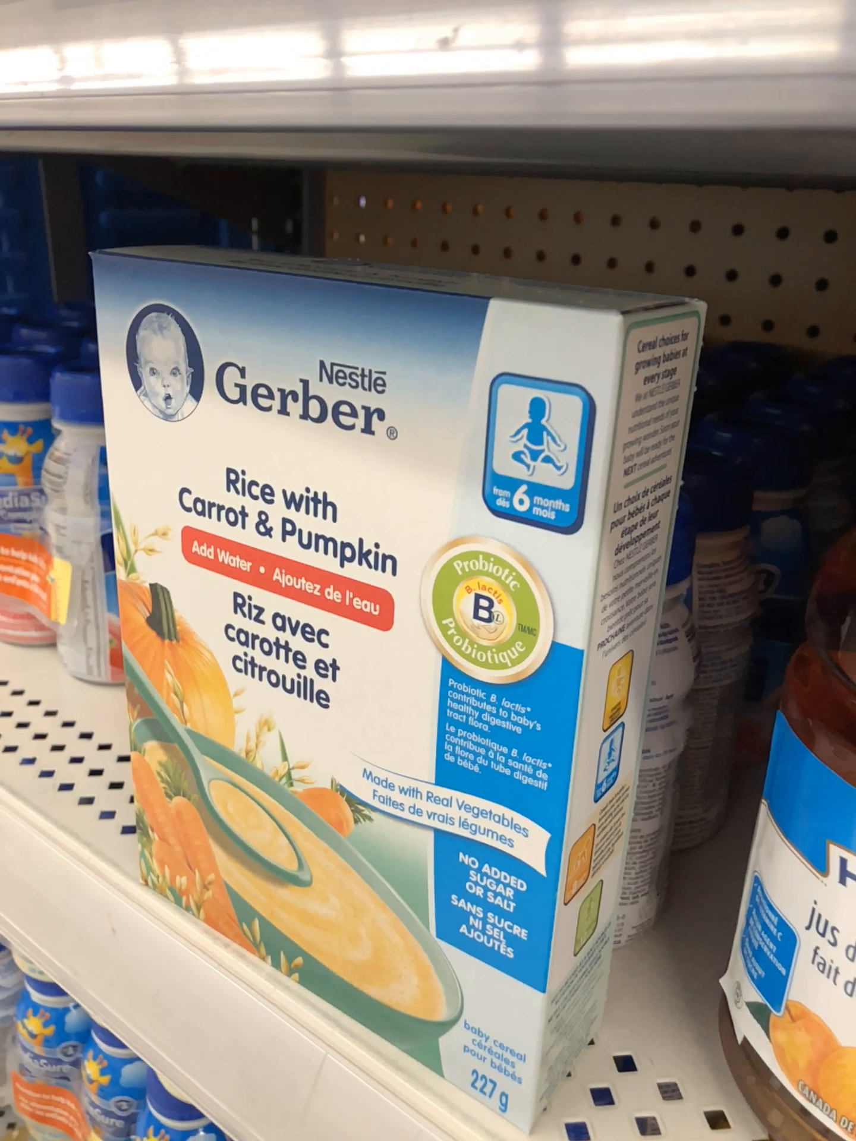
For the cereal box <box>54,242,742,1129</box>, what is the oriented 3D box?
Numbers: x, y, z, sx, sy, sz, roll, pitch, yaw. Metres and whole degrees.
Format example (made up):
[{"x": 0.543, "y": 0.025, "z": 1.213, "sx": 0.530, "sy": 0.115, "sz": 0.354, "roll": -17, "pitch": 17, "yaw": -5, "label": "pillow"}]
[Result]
[{"x": -0.018, "y": 0.018, "z": 0.242, "sx": 0.150, "sy": 0.179, "sz": 0.050, "roll": 17, "pitch": 26, "yaw": 31, "label": "cereal box"}]
